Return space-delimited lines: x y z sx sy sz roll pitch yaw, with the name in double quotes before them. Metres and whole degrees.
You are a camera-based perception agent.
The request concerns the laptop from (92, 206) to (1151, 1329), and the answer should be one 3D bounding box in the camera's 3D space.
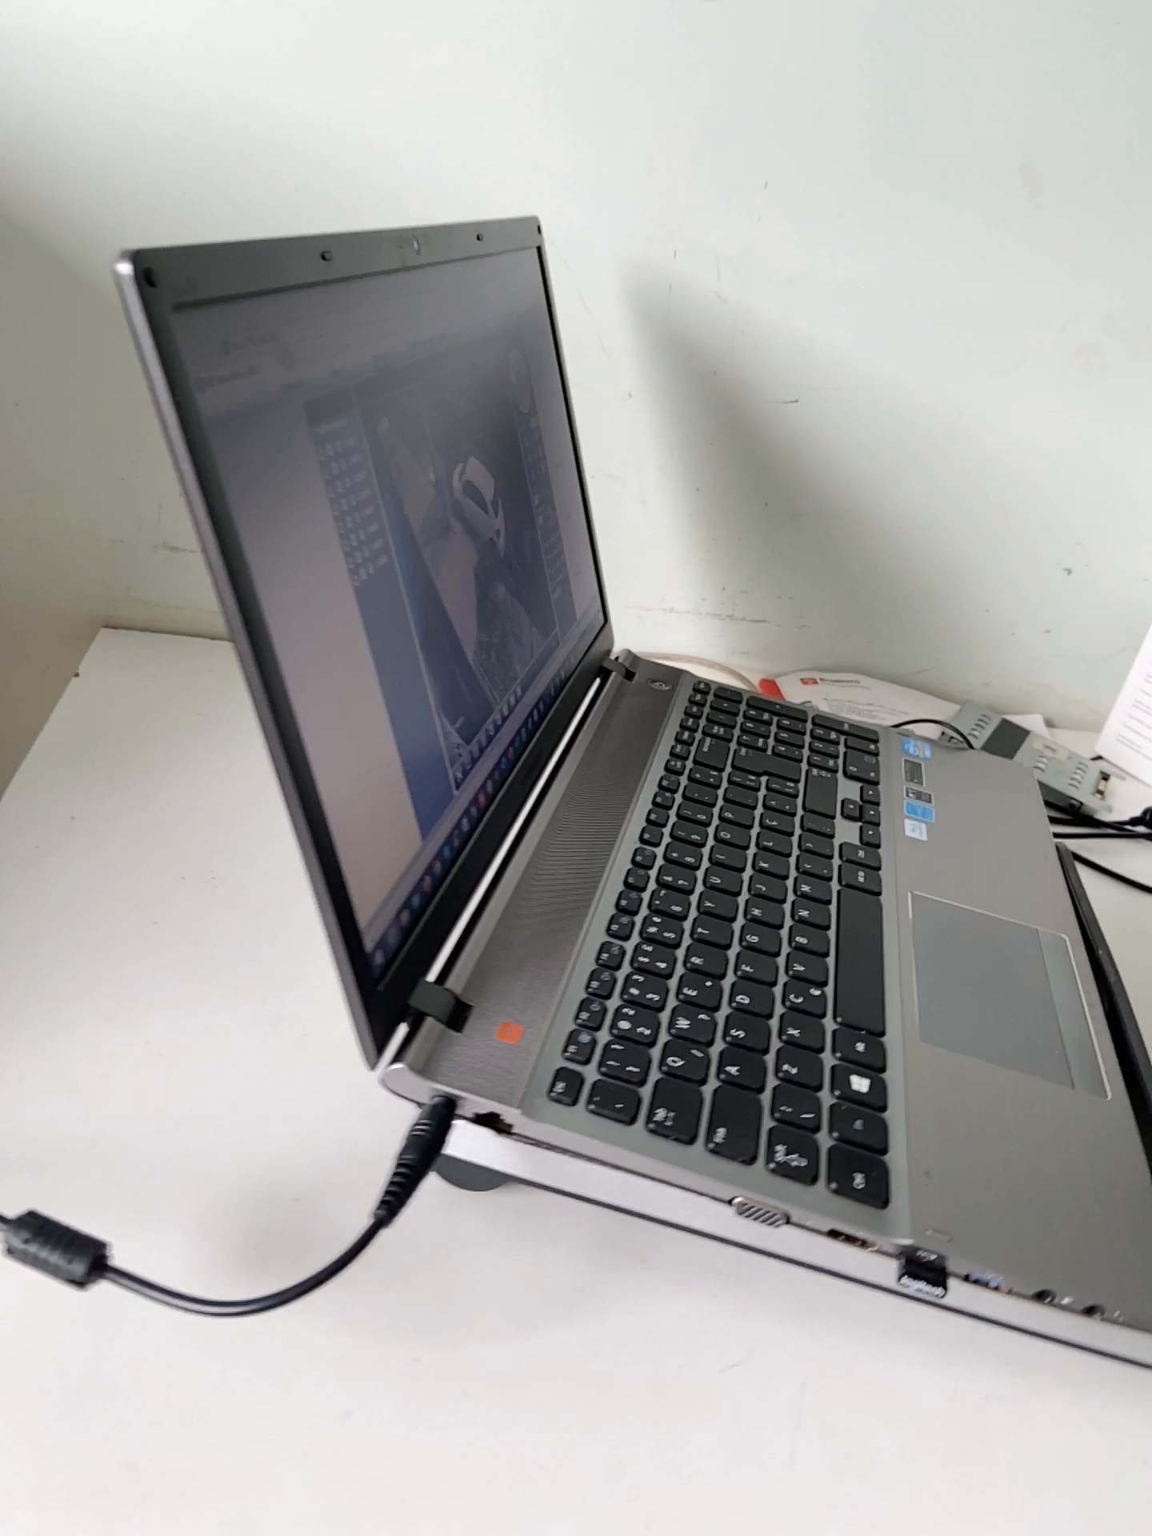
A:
"laptop" 0.072 -0.062 0.465 0.334 0.213 0.369 16 28 6
